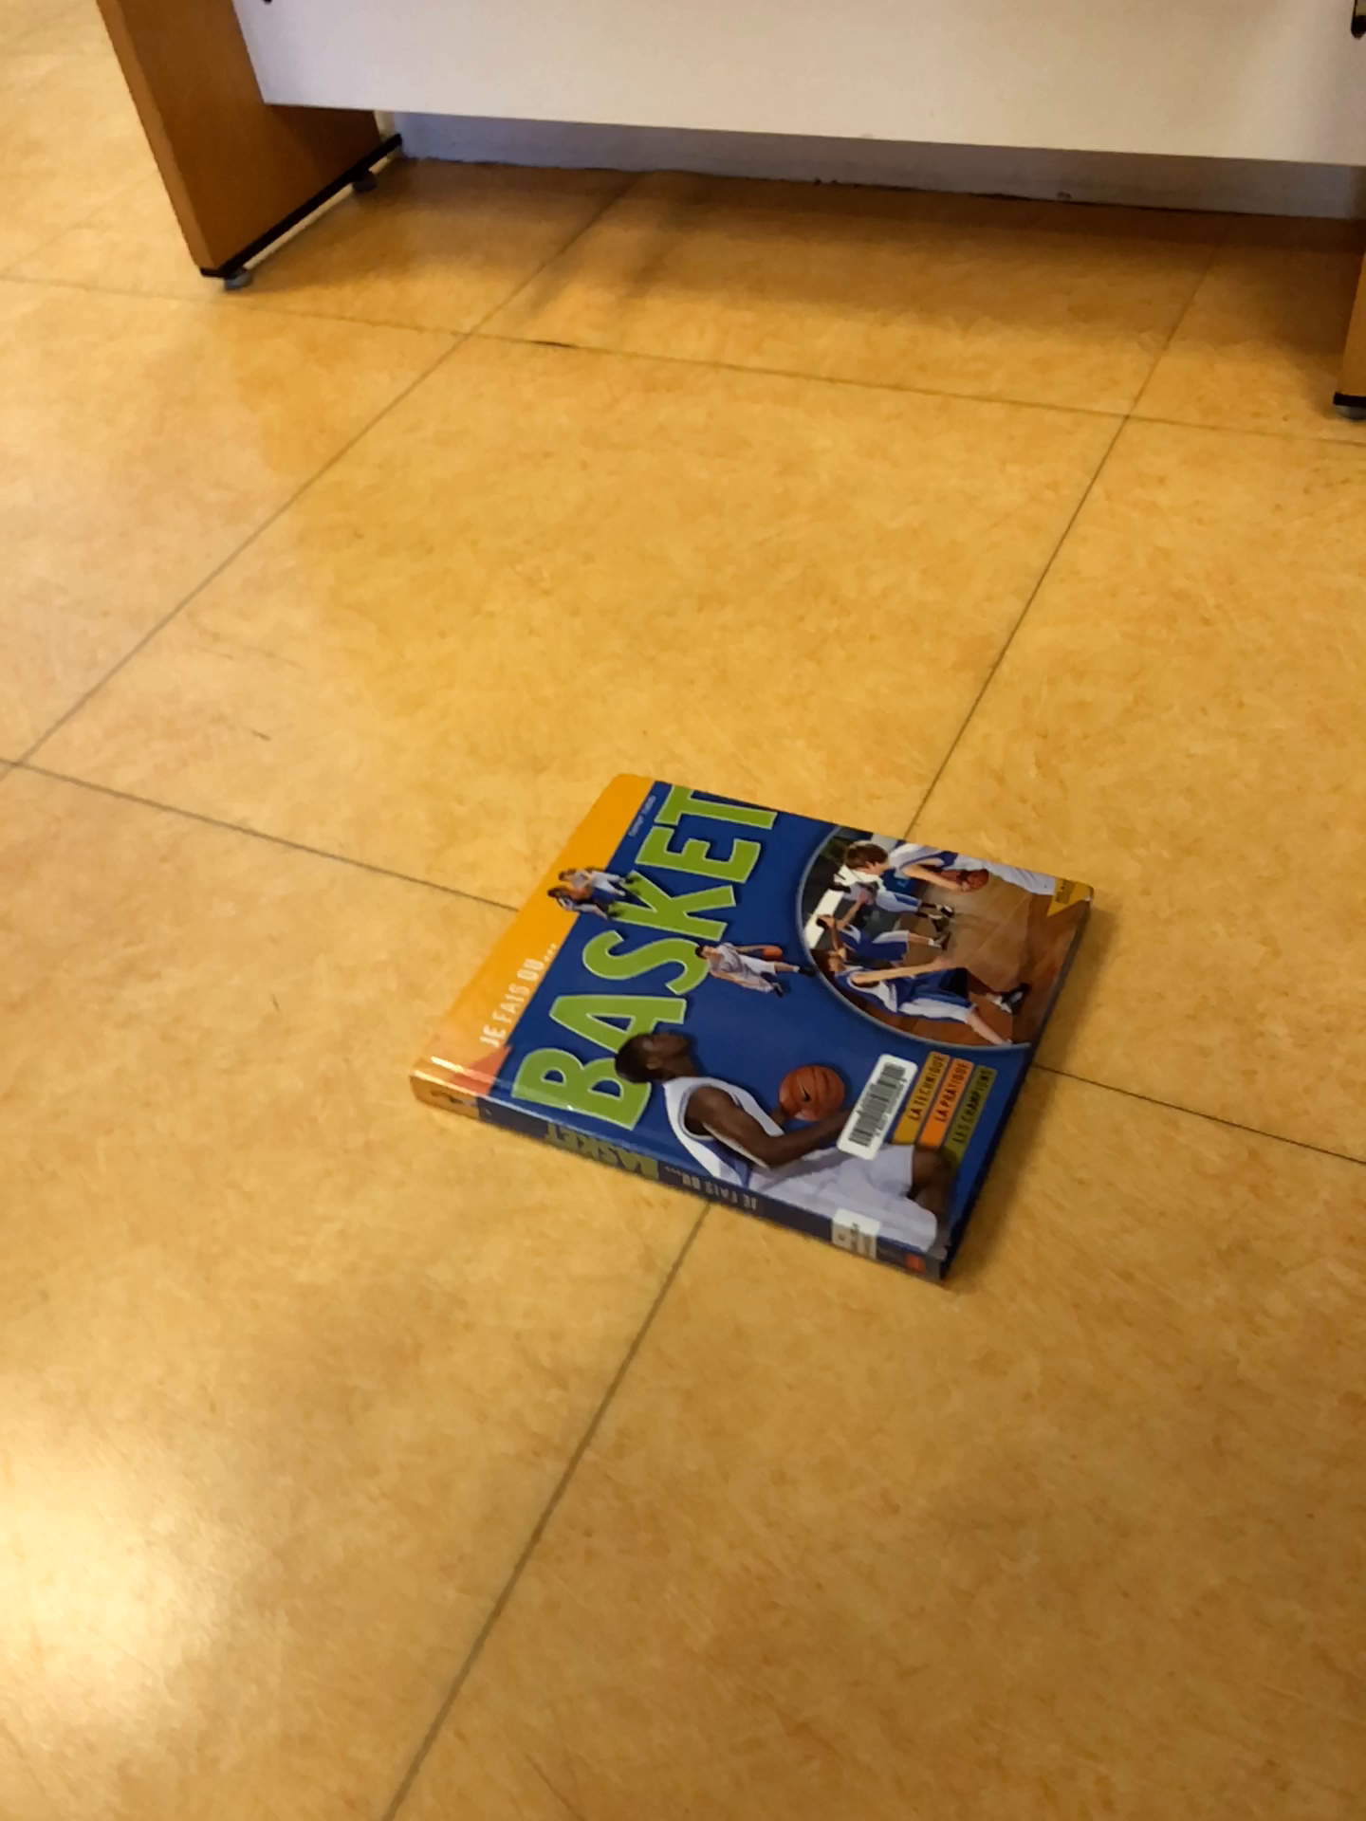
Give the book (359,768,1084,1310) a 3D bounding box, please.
[{"bbox_3d":[0.021,0.039,0.666,0.256,0.020,0.211,15,52,22],"label":"book"}]
